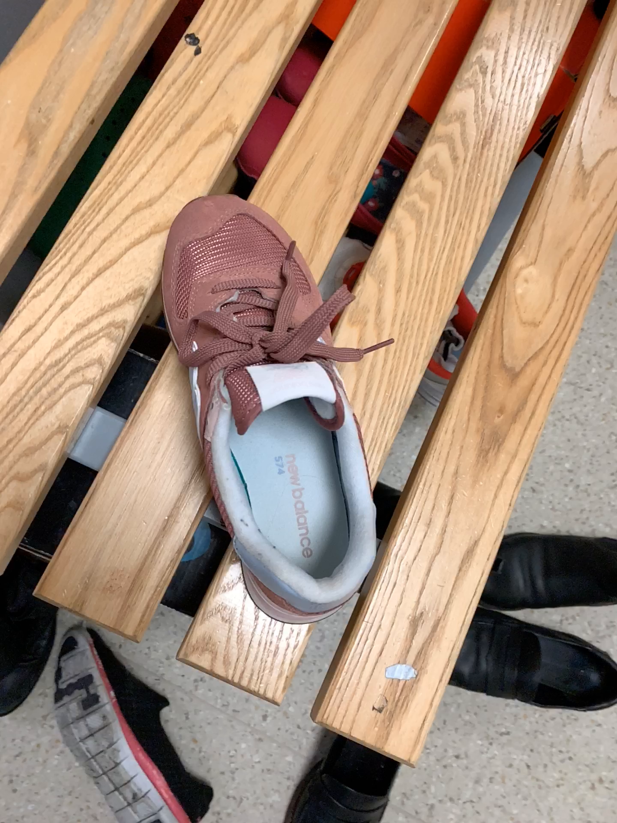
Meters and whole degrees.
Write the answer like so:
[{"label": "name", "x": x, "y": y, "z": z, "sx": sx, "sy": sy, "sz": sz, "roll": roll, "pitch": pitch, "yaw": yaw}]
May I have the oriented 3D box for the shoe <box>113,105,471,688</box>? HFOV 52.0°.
[{"label": "shoe", "x": -0.018, "y": -0.011, "z": 0.346, "sx": 0.110, "sy": 0.105, "sz": 0.260, "roll": -12, "pitch": 82, "yaw": -10}]
